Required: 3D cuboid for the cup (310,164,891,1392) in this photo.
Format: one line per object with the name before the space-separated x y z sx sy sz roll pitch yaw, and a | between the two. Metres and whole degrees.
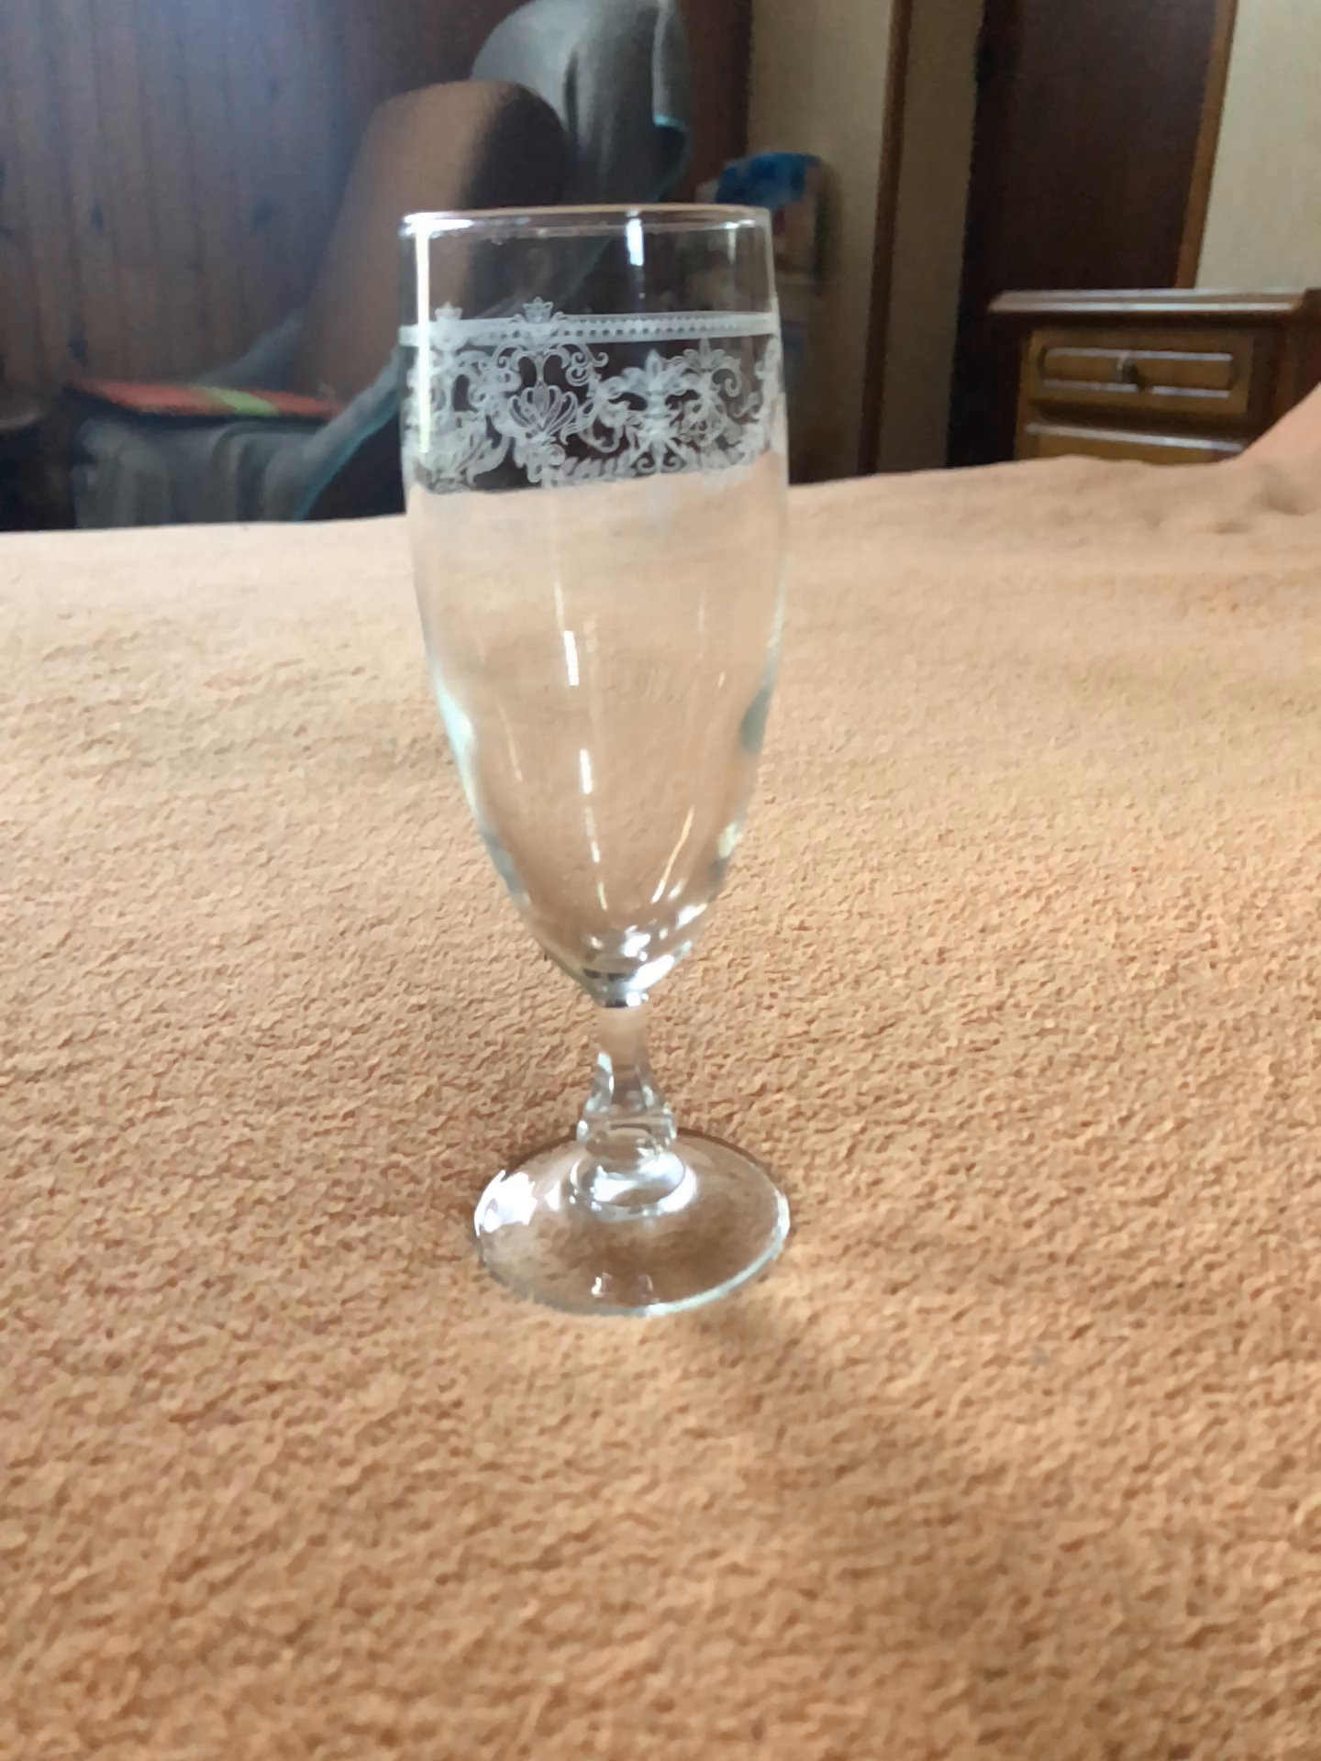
cup | -0.005 -0.014 0.216 0.060 0.159 0.060 1 21 0
